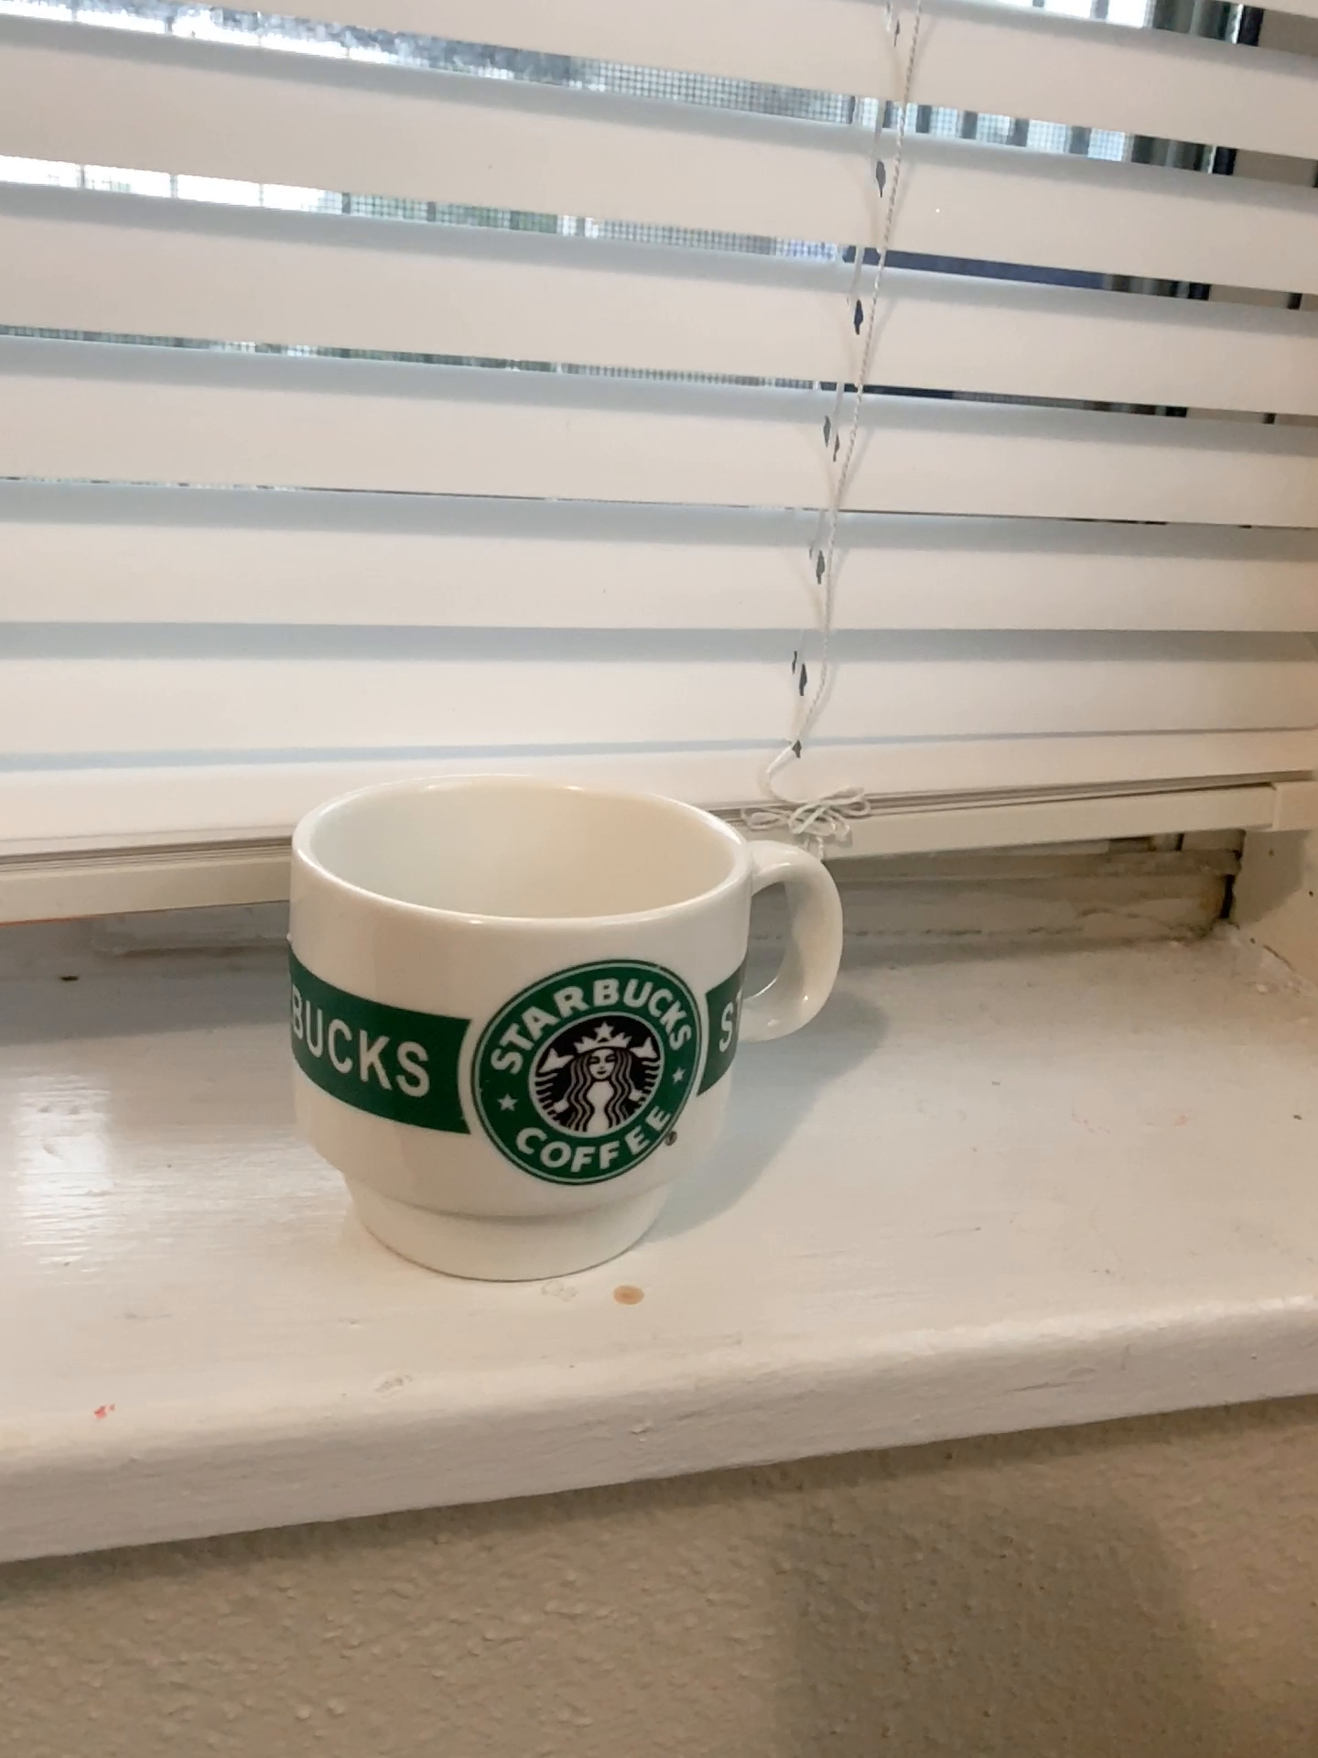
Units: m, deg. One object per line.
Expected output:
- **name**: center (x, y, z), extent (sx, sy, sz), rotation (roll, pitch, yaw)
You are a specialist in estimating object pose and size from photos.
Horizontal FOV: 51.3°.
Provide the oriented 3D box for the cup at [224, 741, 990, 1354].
- **cup**: center (-0.011, 0.018, 0.227), extent (0.100, 0.060, 0.070), rotation (-8, 23, -33)
